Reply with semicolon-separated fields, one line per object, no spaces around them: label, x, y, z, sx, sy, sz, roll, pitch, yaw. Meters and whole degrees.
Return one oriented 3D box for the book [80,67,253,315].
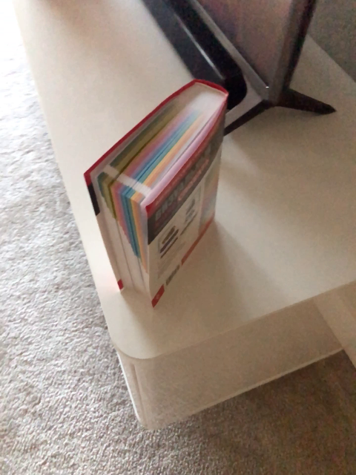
book;-0.007;-0.036;0.379;0.060;0.179;0.150;30;60;16
